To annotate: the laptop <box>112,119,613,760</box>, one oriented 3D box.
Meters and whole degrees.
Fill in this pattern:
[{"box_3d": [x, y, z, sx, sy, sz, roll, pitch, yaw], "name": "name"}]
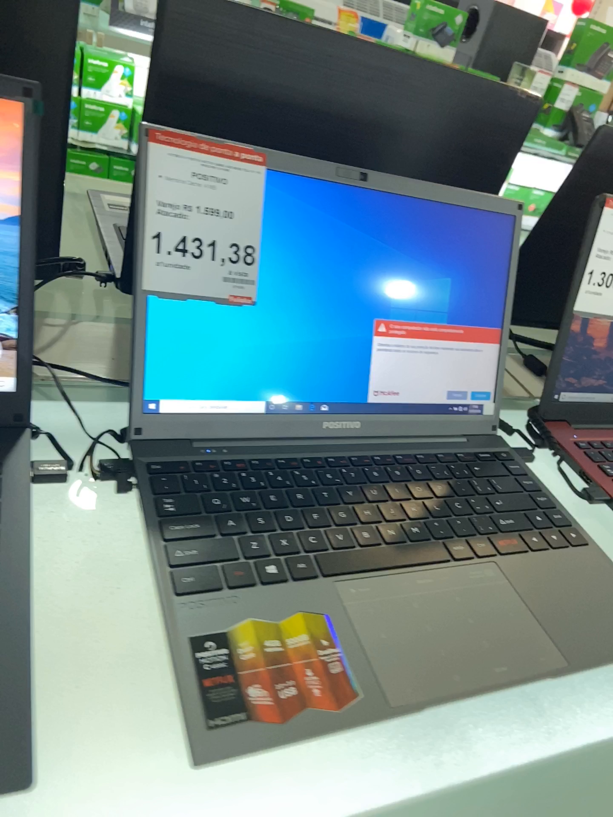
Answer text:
[{"box_3d": [0.070, -0.014, 0.415, 0.331, 0.183, 0.320, 1, 36, -26], "name": "laptop"}]
